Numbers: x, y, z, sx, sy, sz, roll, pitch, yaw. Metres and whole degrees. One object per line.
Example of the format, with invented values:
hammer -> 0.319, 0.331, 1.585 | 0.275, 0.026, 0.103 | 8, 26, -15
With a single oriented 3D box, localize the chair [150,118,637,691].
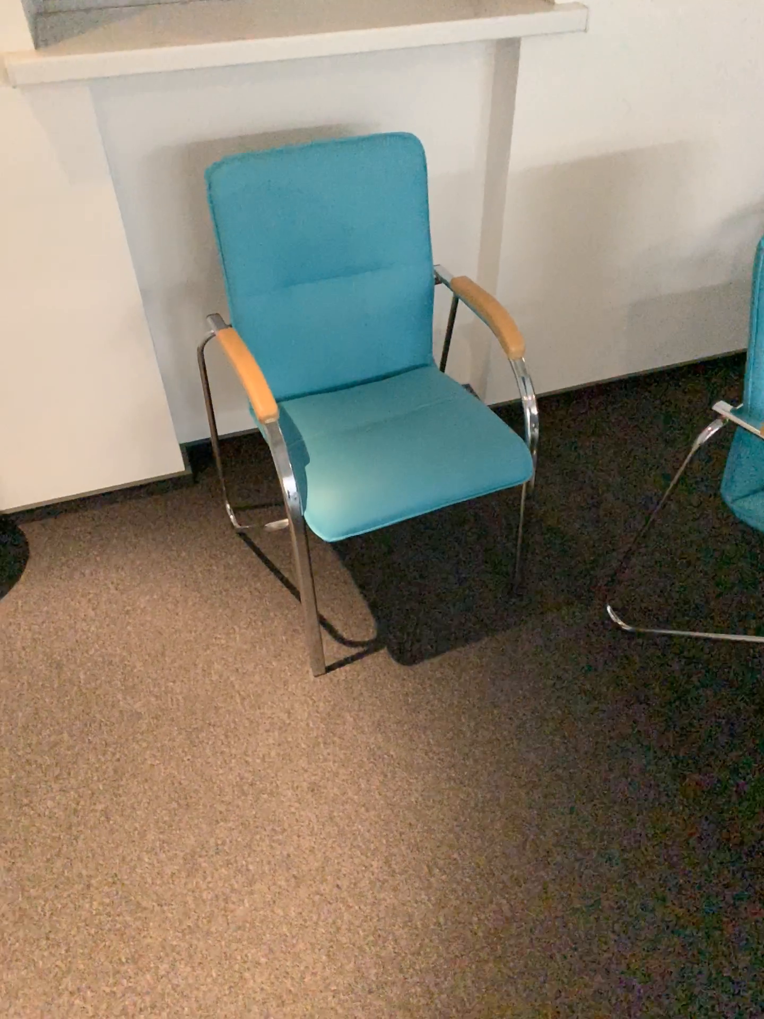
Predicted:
chair -> -0.014, -0.220, 1.627 | 0.631, 0.855, 0.633 | -17, 46, -16
